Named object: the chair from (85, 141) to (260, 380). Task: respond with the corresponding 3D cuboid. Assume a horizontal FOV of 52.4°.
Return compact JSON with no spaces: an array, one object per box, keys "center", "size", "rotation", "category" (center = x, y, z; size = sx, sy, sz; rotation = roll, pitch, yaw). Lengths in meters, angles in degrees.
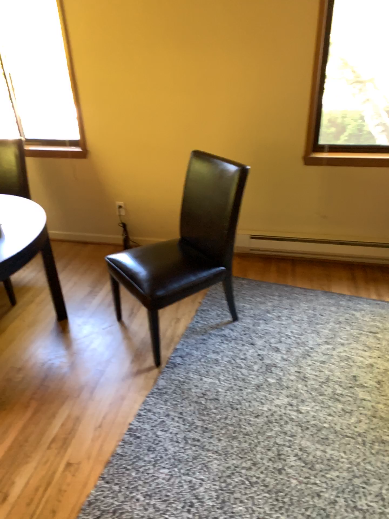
[{"center":[-0.097,-0.028,2.205],"size":[0.670,1.034,0.563],"rotation":[-22,35,-30],"category":"chair"}]
